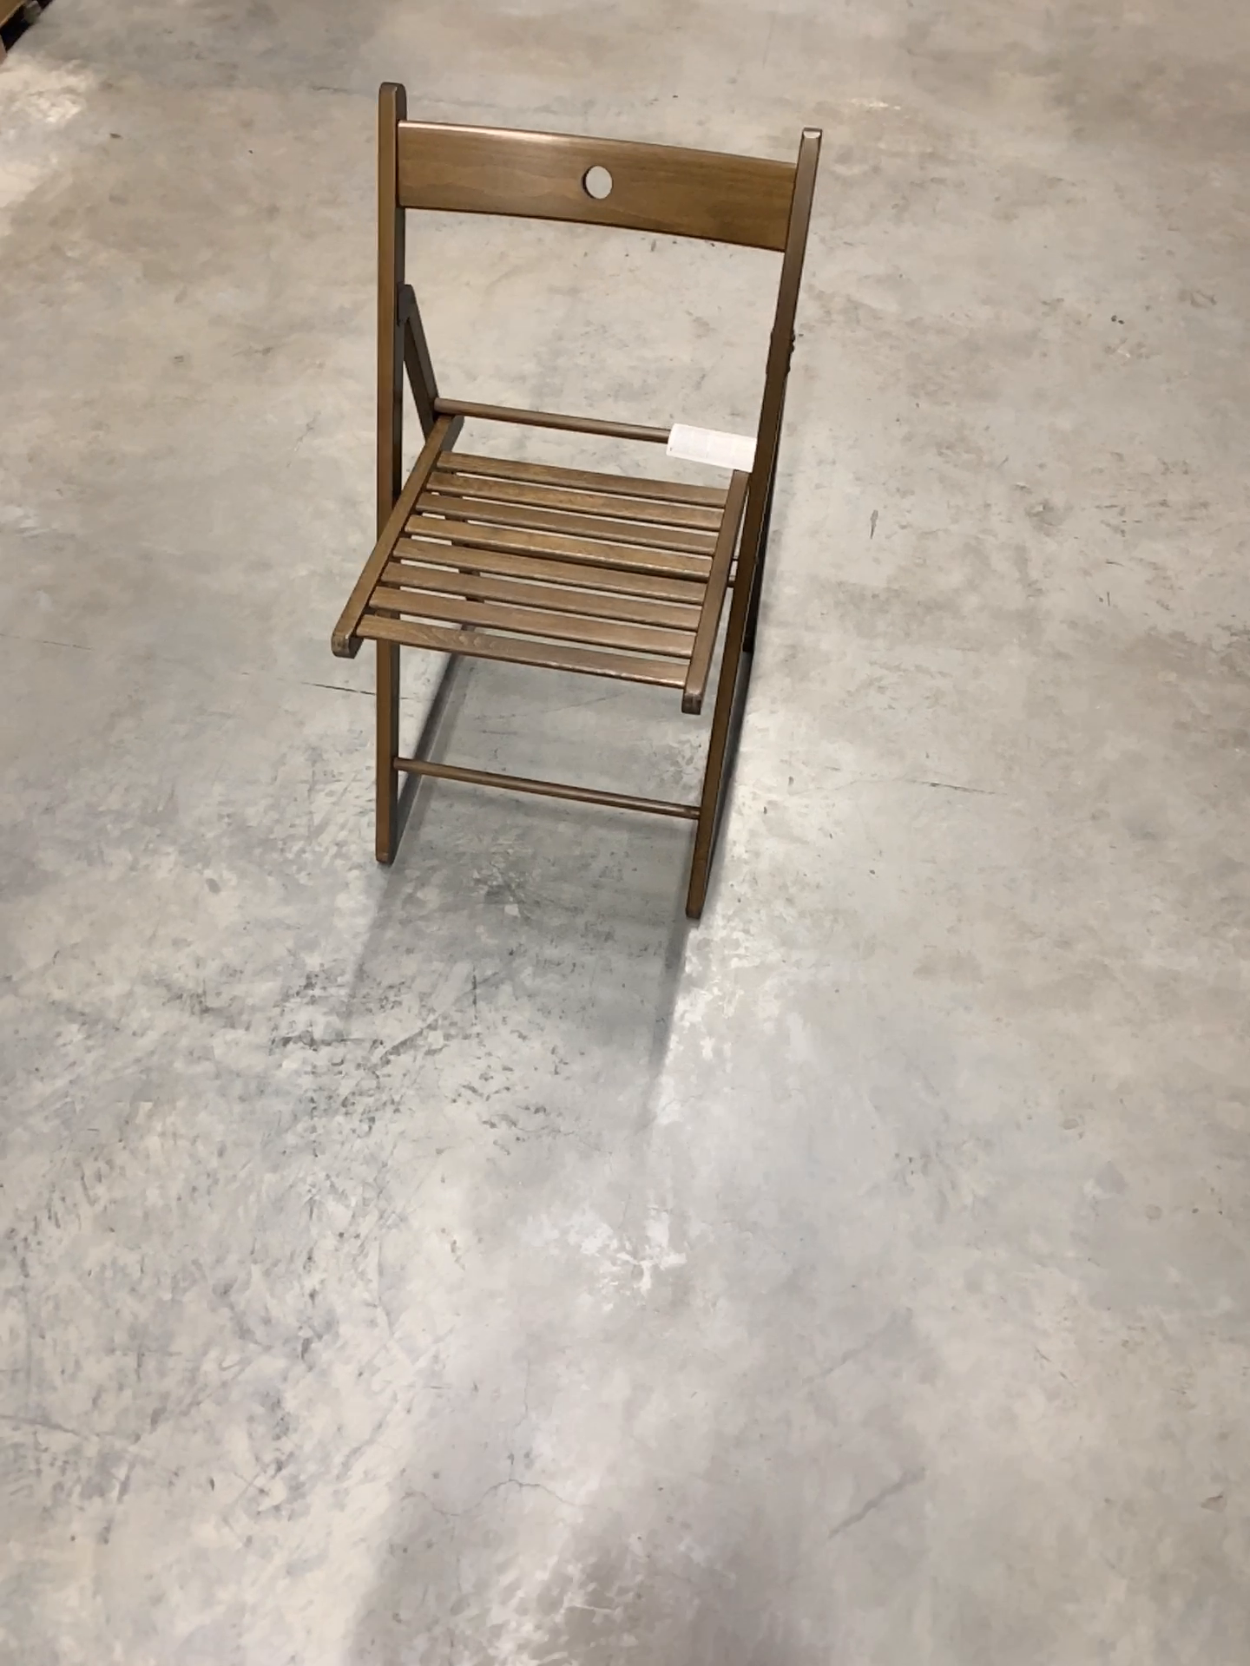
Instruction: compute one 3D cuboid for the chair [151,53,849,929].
[{"bbox_3d":[-0.077,-0.322,1.365,0.480,0.698,0.501,10,58,6],"label":"chair"}]
